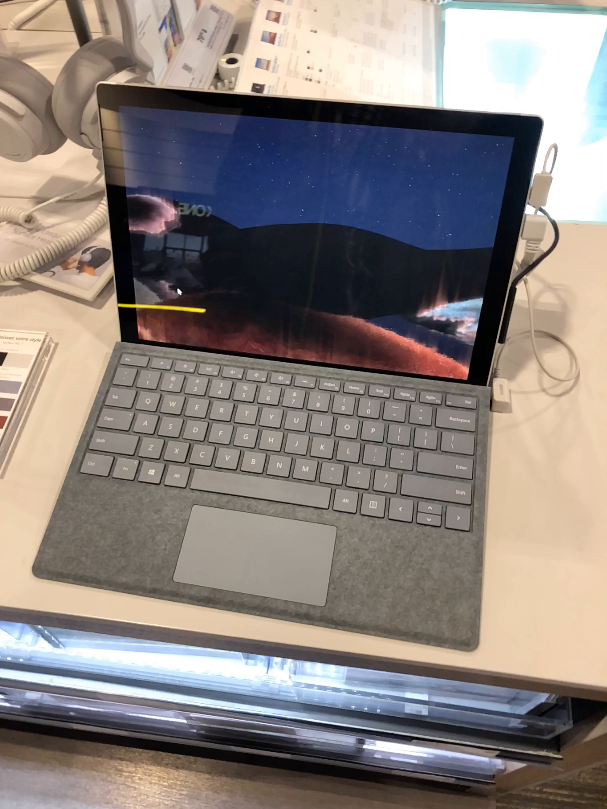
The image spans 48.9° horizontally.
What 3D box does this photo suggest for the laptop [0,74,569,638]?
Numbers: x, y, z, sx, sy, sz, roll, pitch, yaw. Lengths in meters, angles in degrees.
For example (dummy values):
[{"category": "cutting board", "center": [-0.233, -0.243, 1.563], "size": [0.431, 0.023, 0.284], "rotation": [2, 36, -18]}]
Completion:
[{"category": "laptop", "center": [-0.006, -0.042, 0.412], "size": [0.261, 0.143, 0.284], "rotation": [8, 62, 11]}]
